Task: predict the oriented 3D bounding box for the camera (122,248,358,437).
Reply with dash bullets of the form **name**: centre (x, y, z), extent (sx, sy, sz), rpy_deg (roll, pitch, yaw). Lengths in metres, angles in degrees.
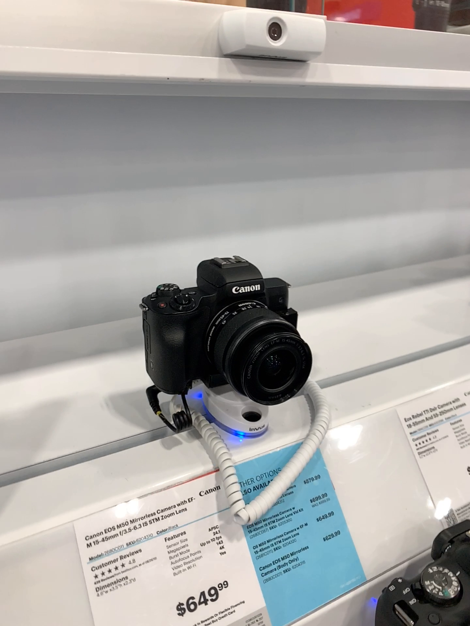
- **camera**: centre (0.000, 0.010, 0.358), extent (0.130, 0.080, 0.110), rpy_deg (-11, 23, -25)
